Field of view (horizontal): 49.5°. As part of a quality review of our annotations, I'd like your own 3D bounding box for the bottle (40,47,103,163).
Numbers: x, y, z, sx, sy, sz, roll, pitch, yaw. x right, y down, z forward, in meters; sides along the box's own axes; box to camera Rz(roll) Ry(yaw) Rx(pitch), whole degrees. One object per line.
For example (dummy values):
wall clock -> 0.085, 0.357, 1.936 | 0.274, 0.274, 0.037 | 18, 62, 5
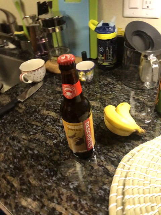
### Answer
bottle -> -0.003, 0.007, 0.303 | 0.060, 0.199, 0.060 | -5, 40, 4
